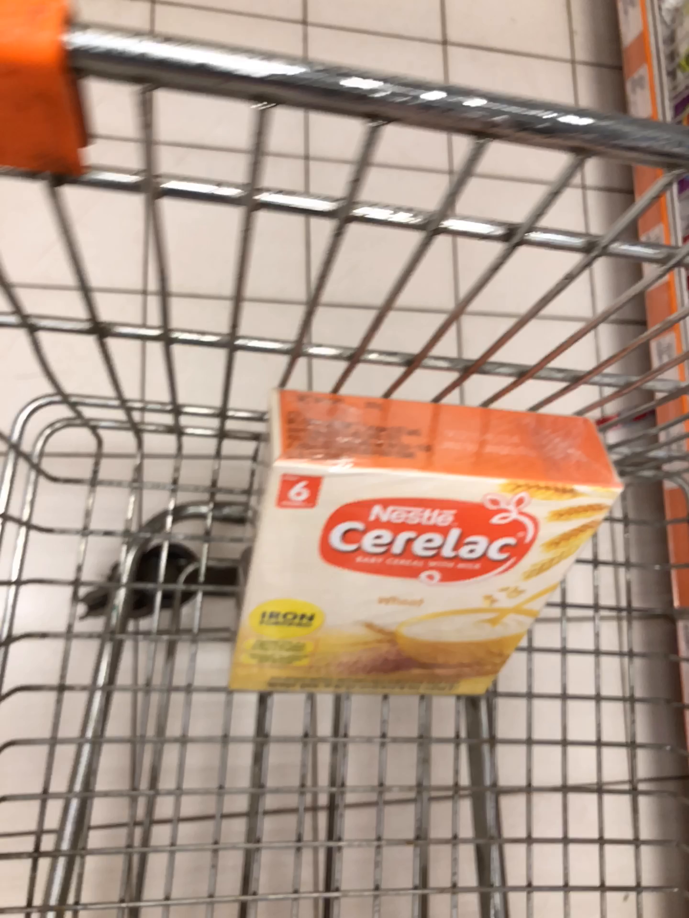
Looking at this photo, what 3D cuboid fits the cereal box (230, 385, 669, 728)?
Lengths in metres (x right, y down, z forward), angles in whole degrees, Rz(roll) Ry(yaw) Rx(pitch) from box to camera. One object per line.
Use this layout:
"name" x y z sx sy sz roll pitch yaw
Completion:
"cereal box" 0.031 0.058 0.359 0.150 0.179 0.050 4 44 -12
